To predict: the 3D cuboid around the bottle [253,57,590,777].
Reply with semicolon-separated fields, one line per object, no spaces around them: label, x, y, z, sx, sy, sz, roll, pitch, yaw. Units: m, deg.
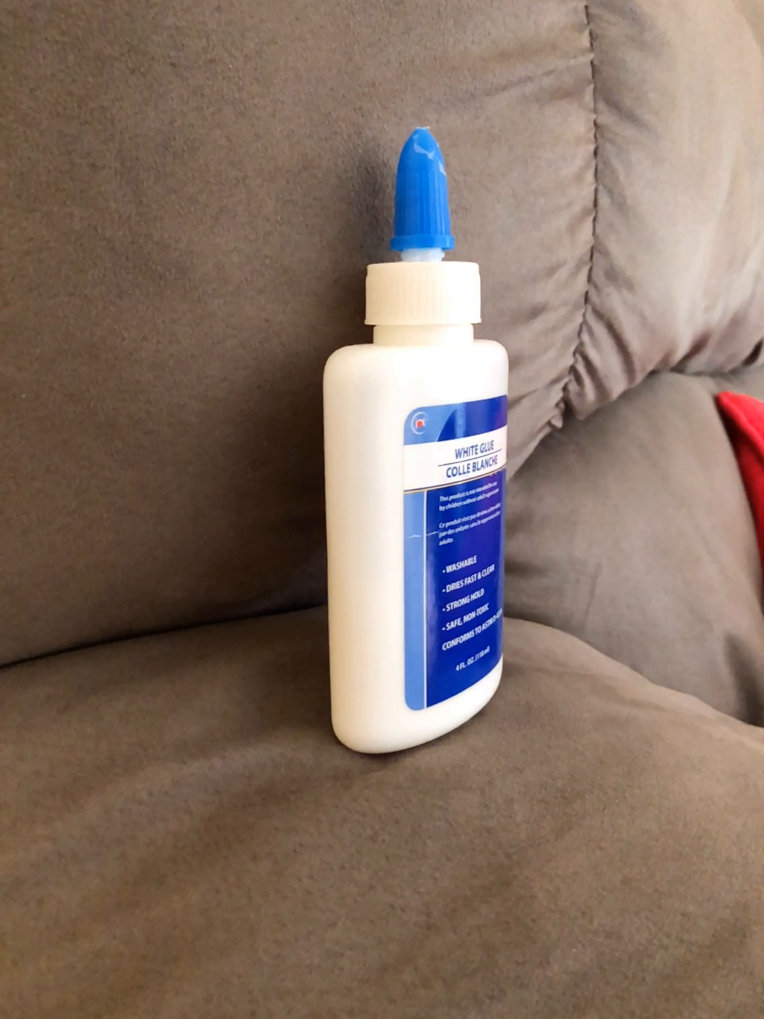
bottle;0.013;-0.020;0.195;0.040;0.130;0.070;7;13;34
